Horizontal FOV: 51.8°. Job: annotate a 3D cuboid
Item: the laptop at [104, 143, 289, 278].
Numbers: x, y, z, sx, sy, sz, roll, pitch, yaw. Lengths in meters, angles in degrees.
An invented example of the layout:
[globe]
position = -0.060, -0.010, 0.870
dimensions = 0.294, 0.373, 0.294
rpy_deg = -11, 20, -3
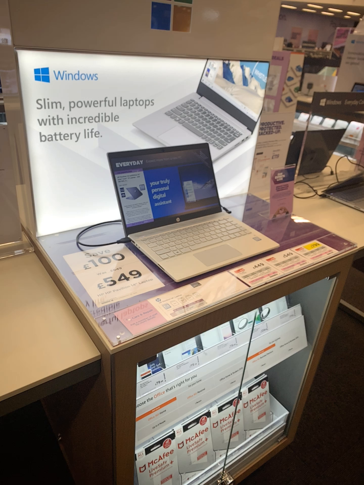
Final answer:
[laptop]
position = 0.023, -0.108, 0.937
dimensions = 0.314, 0.171, 0.324
rpy_deg = -15, 35, -33
